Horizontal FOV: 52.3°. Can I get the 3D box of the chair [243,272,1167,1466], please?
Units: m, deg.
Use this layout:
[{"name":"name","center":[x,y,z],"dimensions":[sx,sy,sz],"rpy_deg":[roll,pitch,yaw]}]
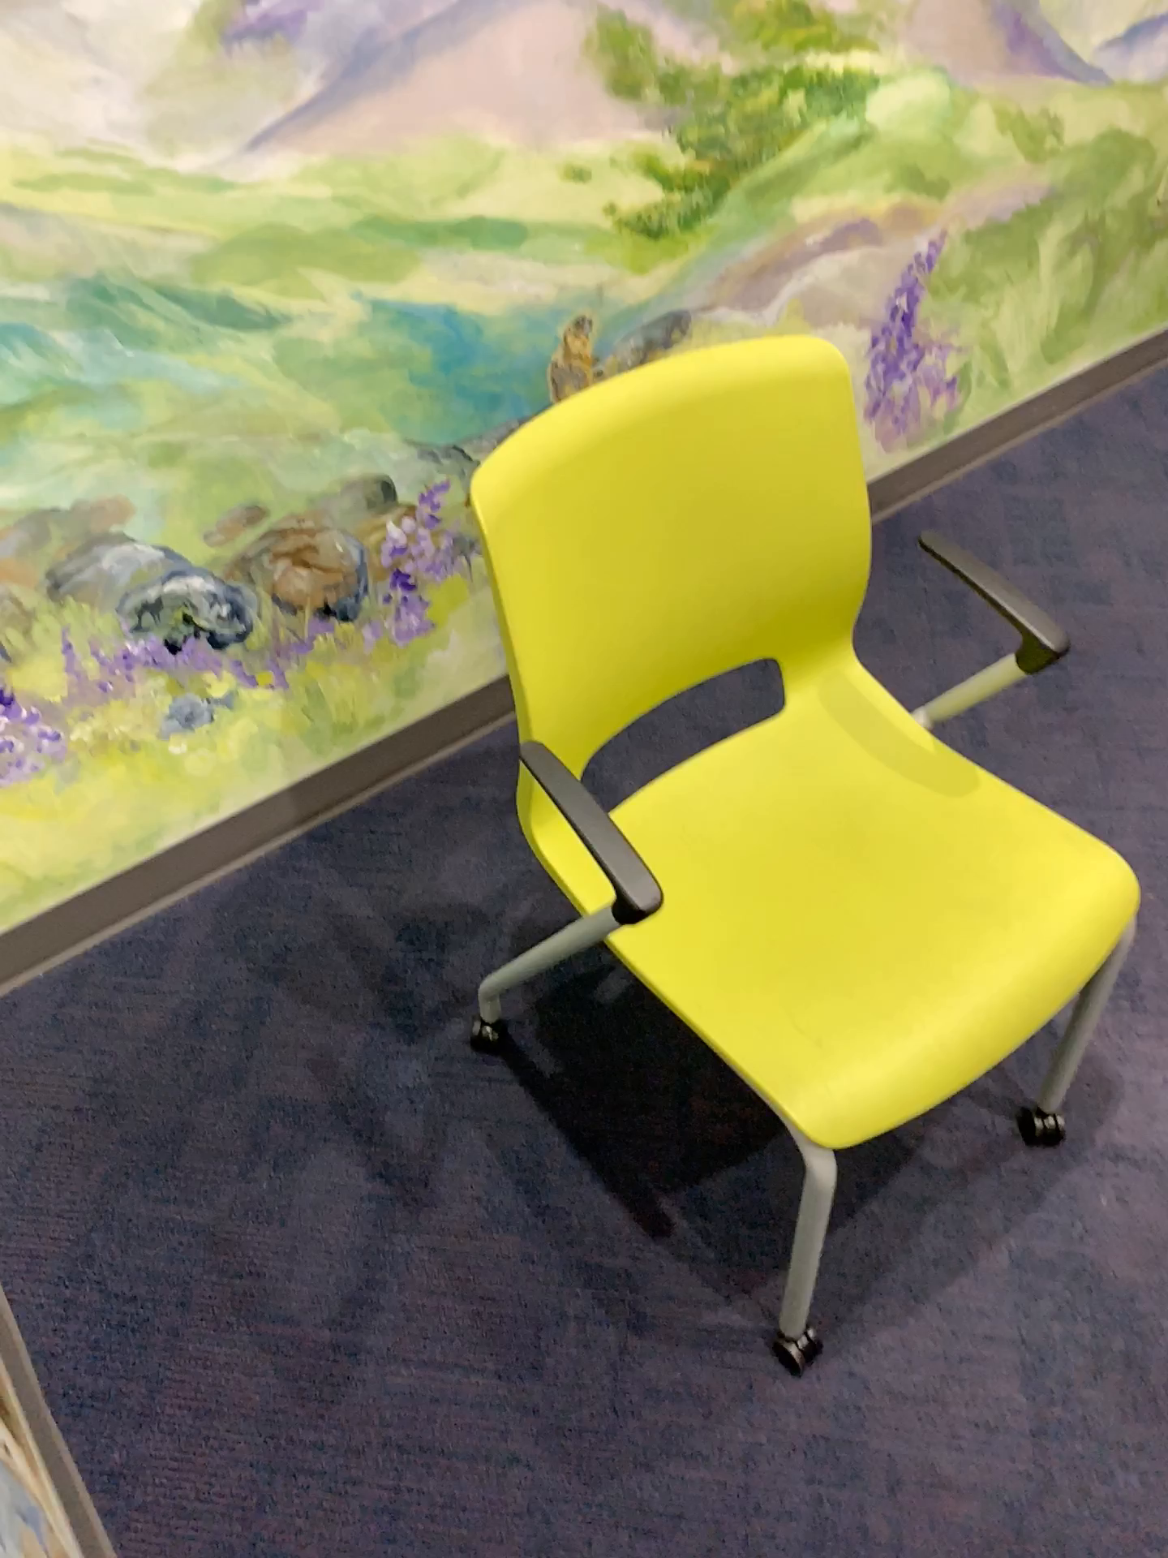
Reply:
[{"name":"chair","center":[0.163,0.056,1.187],"dimensions":[0.591,0.717,0.743],"rpy_deg":[-27,51,-22]}]
